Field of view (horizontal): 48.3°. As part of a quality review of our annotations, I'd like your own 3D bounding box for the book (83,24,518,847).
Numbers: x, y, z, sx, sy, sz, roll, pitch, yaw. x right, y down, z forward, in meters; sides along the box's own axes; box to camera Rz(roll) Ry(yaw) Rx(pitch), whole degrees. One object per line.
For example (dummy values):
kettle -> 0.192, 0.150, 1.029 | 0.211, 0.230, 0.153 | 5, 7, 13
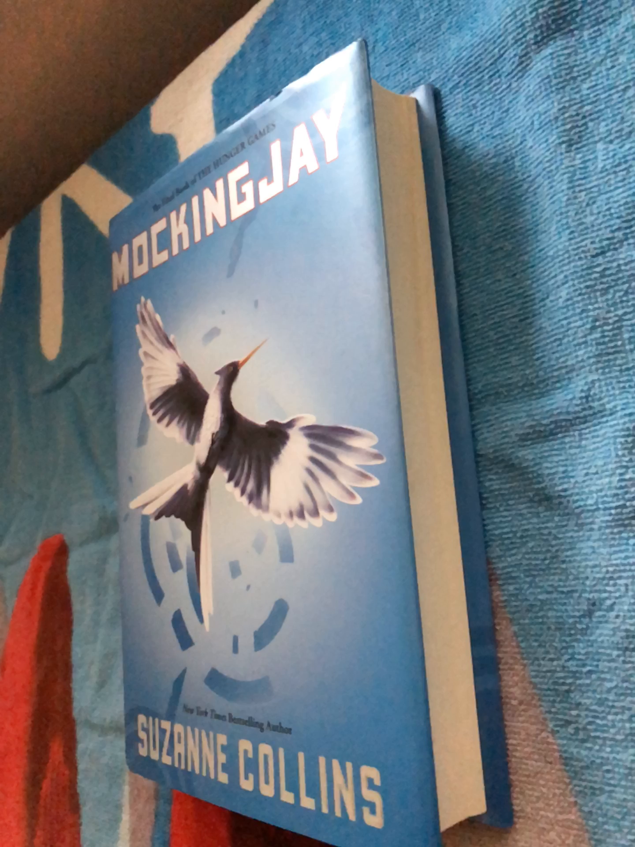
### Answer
book -> -0.022, 0.011, 0.224 | 0.141, 0.040, 0.200 | -14, 76, 45
